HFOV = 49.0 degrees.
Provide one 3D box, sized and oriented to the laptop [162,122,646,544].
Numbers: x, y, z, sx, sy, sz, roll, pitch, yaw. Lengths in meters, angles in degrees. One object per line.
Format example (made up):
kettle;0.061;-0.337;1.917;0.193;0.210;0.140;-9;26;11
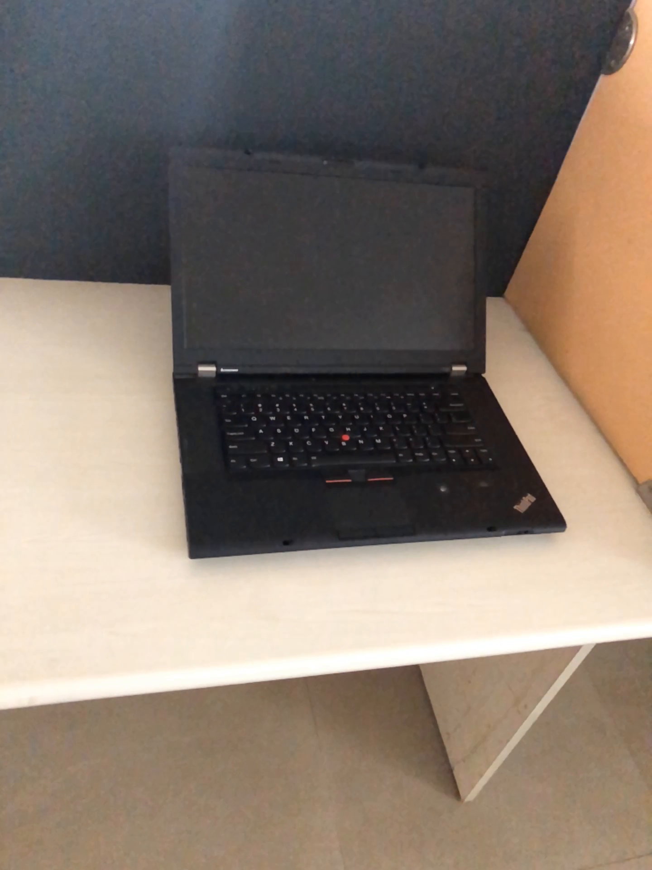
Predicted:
laptop;0.033;-0.115;0.719;0.354;0.185;0.381;-1;46;-17
